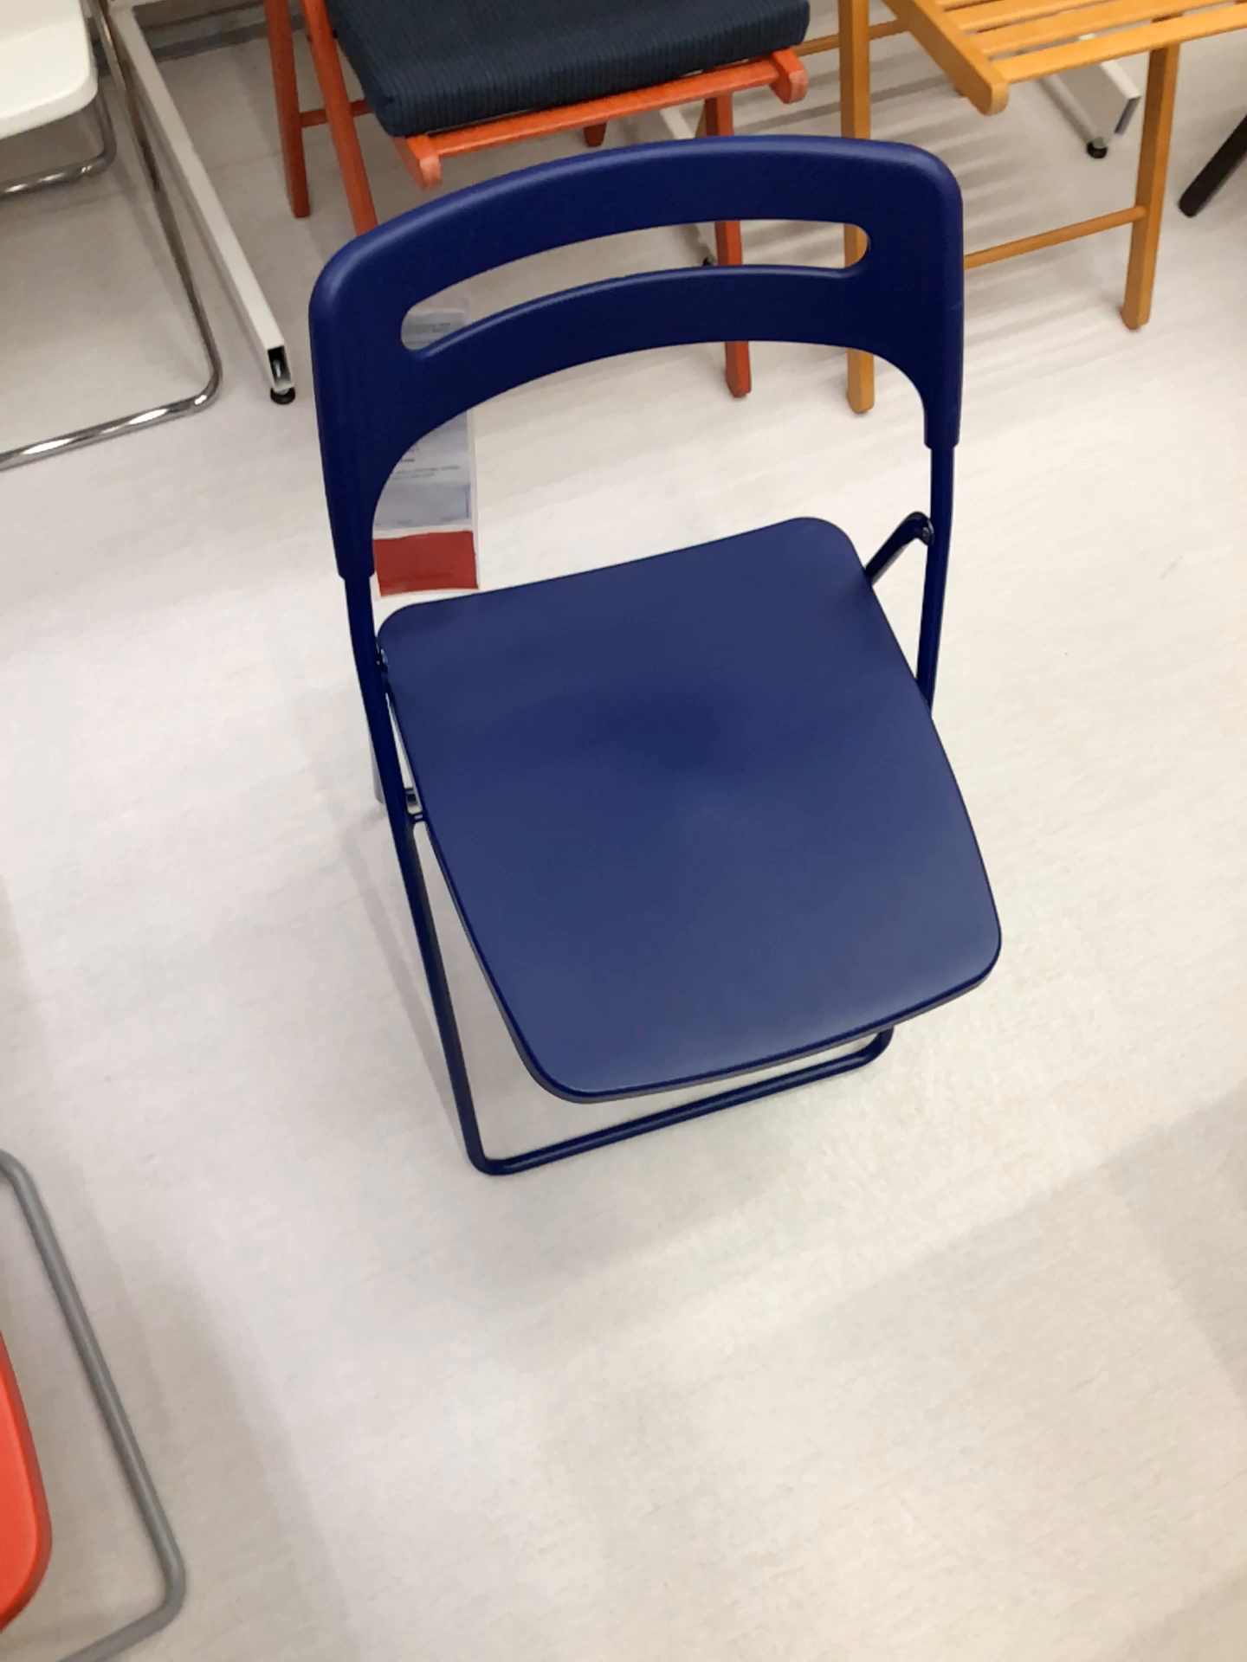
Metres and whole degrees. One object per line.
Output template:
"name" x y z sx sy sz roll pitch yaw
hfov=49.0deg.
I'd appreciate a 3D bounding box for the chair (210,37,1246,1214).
"chair" 0.038 -0.076 1.035 0.460 0.698 0.501 -15 68 -11
